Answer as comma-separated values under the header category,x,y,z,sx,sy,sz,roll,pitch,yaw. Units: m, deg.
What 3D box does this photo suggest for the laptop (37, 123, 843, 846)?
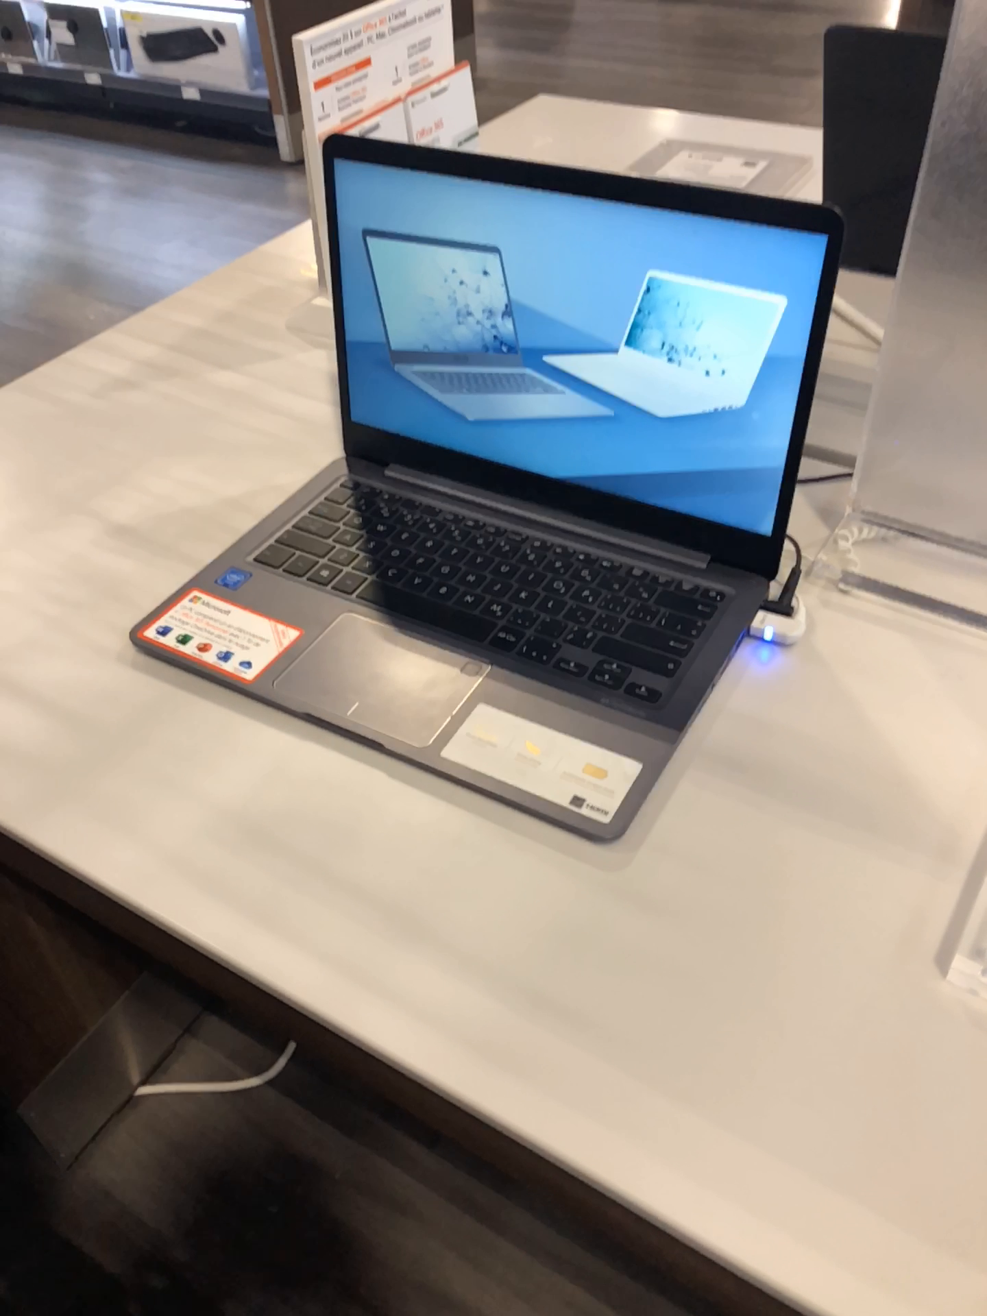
category,x,y,z,sx,sy,sz,roll,pitch,yaw
laptop,-0.015,-0.131,0.633,0.333,0.180,0.301,19,52,22
